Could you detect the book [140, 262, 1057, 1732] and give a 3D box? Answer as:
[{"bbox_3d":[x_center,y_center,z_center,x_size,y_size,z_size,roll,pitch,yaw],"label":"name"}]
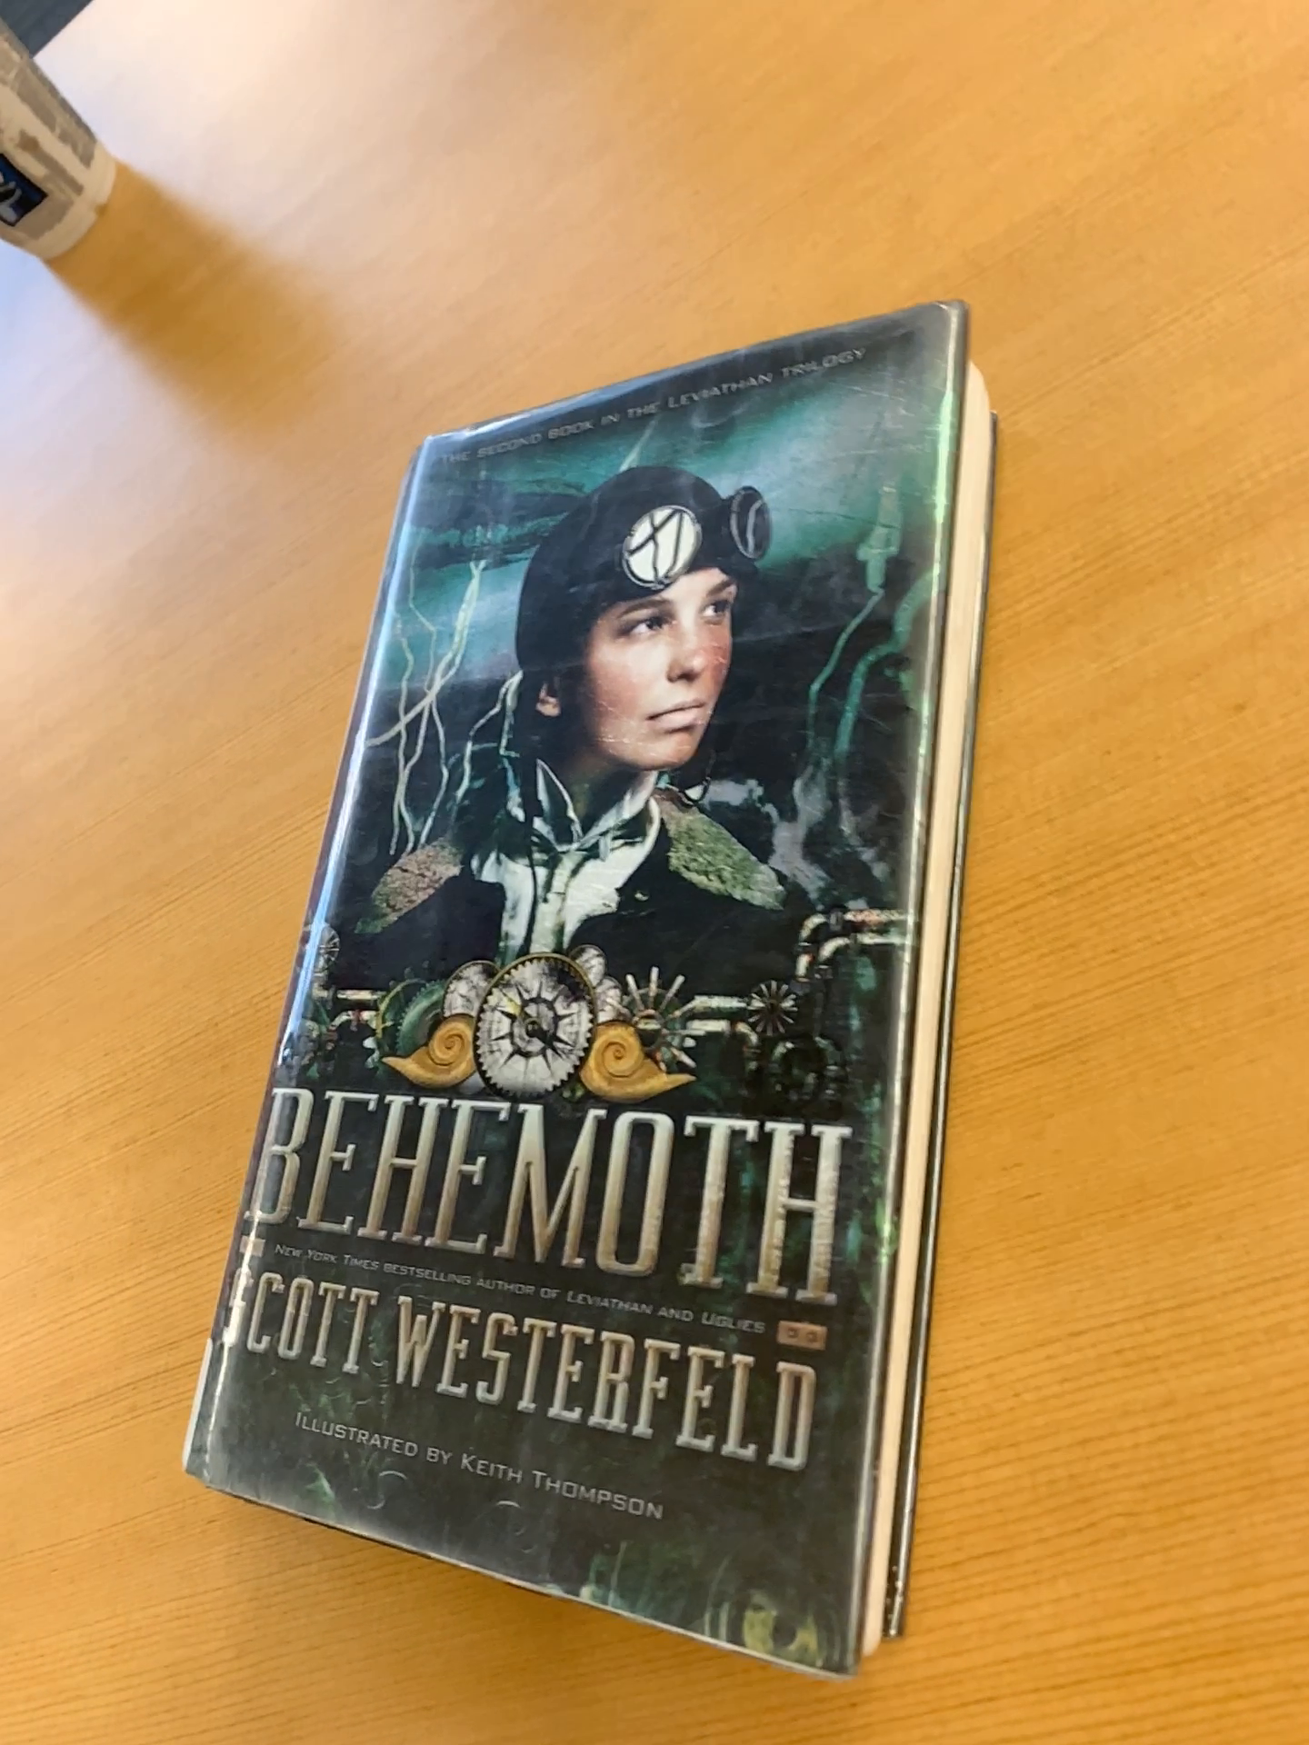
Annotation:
[{"bbox_3d":[-0.007,0.012,0.277,0.151,0.050,0.241,-3,70,33],"label":"book"}]
